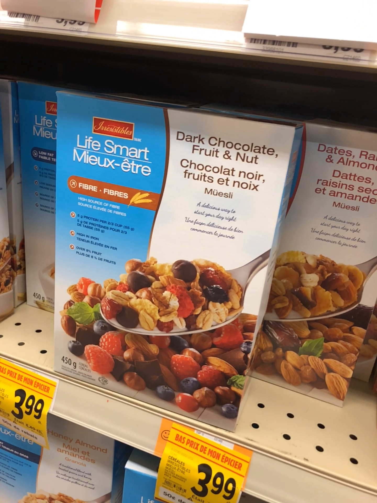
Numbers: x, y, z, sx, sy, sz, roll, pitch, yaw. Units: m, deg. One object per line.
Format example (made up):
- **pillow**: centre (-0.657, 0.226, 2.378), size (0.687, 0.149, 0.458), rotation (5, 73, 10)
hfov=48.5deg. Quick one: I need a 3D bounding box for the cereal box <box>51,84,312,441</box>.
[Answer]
- **cereal box**: centre (-0.018, 0.008, 0.325), size (0.170, 0.238, 0.050), rotation (13, 22, 15)
